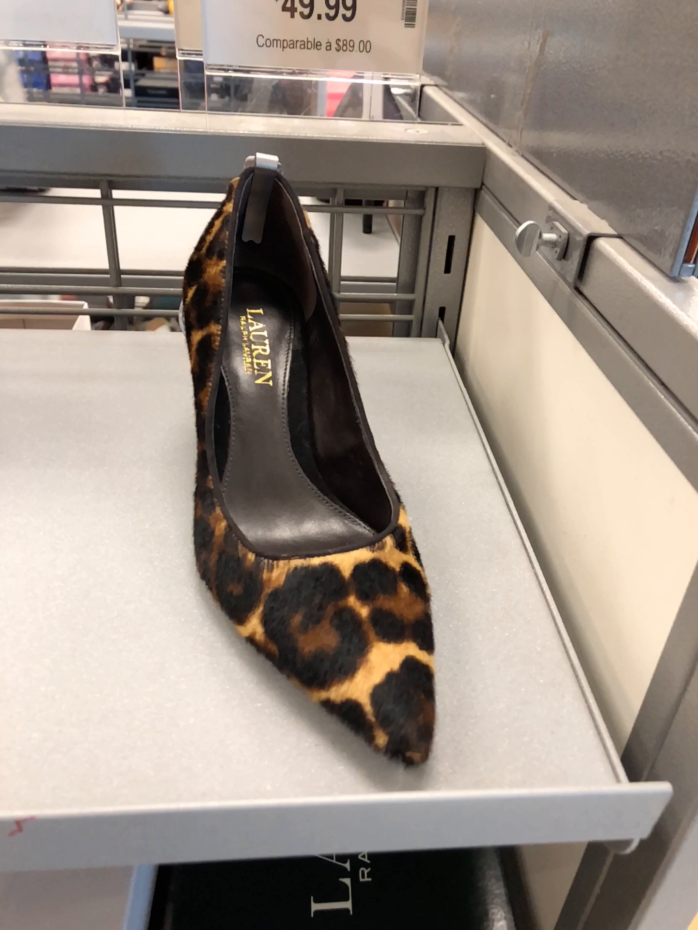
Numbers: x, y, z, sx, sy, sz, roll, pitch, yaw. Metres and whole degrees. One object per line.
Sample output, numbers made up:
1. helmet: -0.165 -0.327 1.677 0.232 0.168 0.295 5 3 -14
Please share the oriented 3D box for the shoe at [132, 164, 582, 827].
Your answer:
1. shoe: -0.029 -0.024 0.317 0.090 0.129 0.272 -6 35 -16
